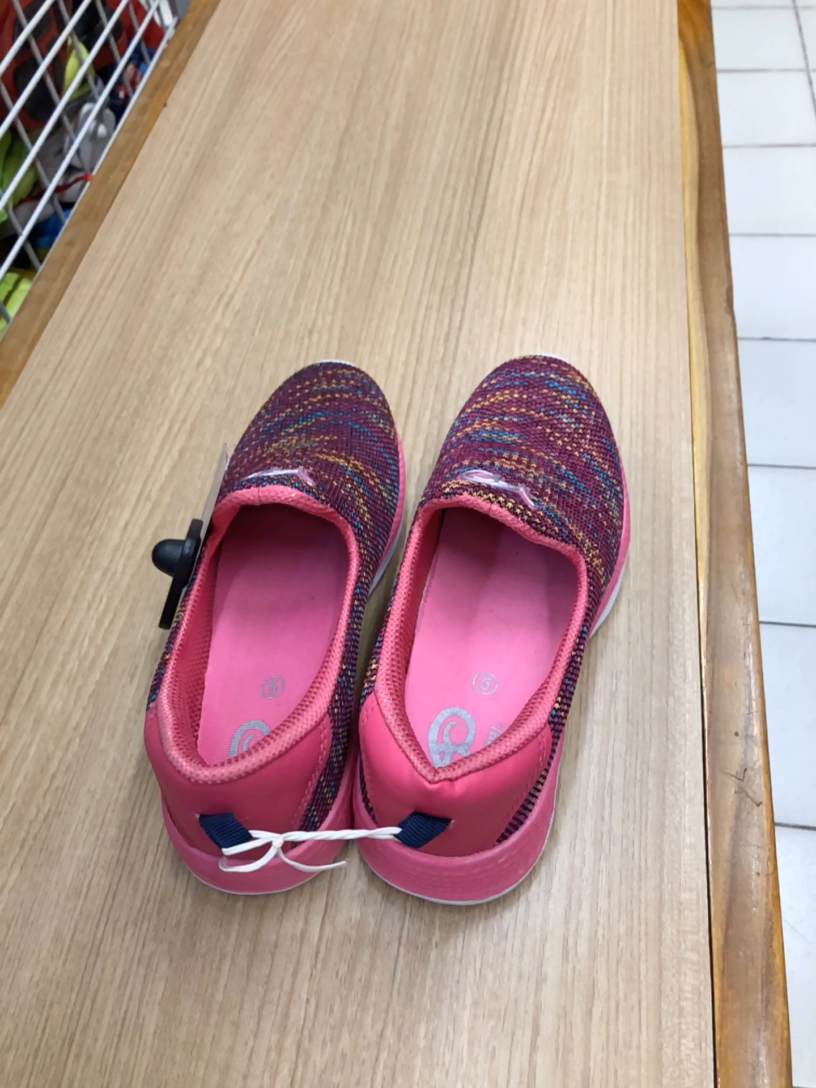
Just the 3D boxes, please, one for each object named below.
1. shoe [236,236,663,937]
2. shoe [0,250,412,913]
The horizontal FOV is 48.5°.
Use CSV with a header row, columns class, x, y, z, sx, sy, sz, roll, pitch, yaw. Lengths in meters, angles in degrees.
class,x,y,z,sx,sy,sz,roll,pitch,yaw
shoe,0.033,0.003,0.353,0.105,0.103,0.245,7,57,12
shoe,-0.067,0.004,0.365,0.104,0.103,0.245,1,56,8
